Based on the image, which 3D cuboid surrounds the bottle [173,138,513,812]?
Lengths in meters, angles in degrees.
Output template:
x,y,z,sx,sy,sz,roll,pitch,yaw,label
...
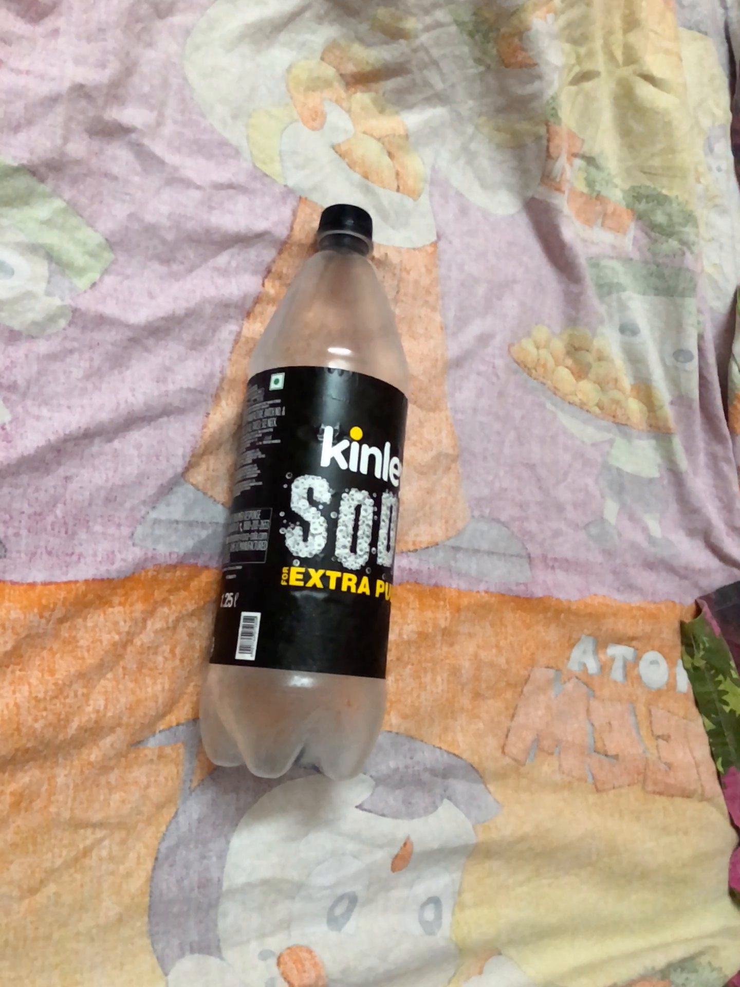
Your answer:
x,y,z,sx,sy,sz,roll,pitch,yaw,label
-0.007,-0.007,0.389,0.090,0.080,0.280,19,76,-47,bottle
